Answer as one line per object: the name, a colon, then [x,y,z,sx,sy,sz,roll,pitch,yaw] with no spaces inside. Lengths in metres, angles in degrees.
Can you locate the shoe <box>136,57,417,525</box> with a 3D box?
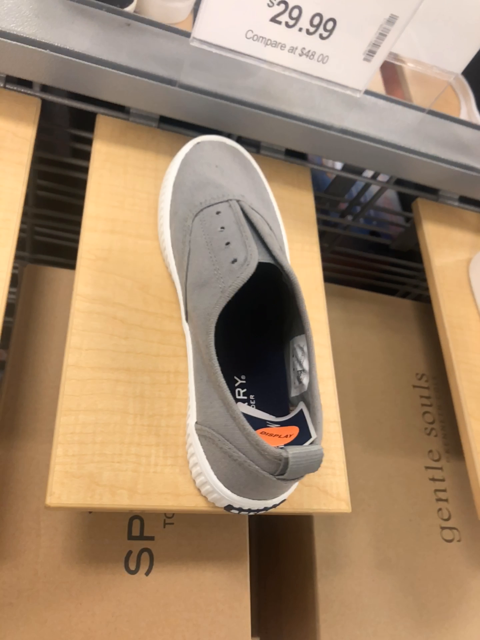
shoe: [0.004,-0.023,0.316,0.097,0.081,0.251,2,62,-24]
